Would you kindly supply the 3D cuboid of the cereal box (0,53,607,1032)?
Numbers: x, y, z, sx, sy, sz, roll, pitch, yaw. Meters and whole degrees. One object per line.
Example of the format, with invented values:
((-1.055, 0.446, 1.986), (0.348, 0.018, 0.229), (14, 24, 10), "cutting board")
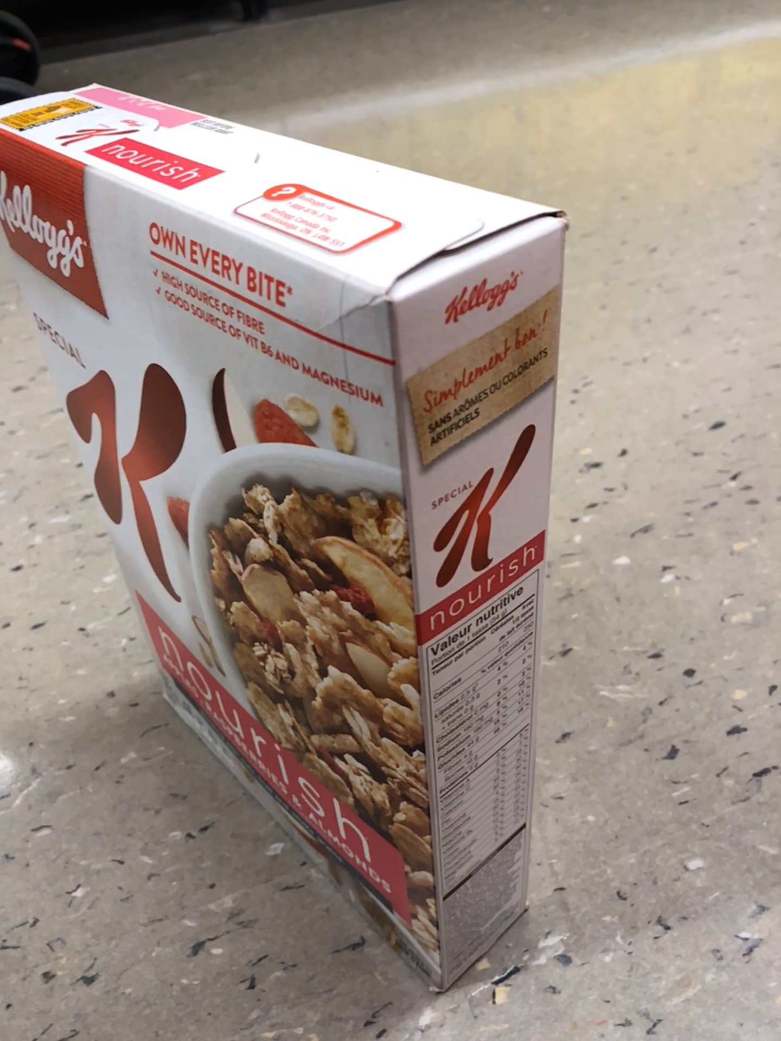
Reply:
((-0.037, 0.017, 0.298), (0.050, 0.289, 0.211), (-33, 47, -28), "cereal box")
